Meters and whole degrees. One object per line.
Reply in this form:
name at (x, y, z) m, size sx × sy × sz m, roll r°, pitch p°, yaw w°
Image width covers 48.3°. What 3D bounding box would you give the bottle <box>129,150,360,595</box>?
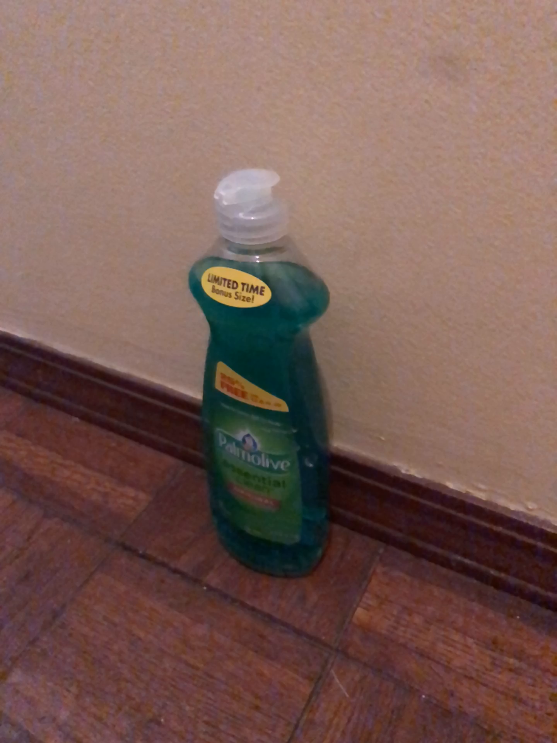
bottle at (-0.010, 0.014, 0.322) m, size 0.080 × 0.229 × 0.050 m, roll 16°, pitch 40°, yaw 22°
